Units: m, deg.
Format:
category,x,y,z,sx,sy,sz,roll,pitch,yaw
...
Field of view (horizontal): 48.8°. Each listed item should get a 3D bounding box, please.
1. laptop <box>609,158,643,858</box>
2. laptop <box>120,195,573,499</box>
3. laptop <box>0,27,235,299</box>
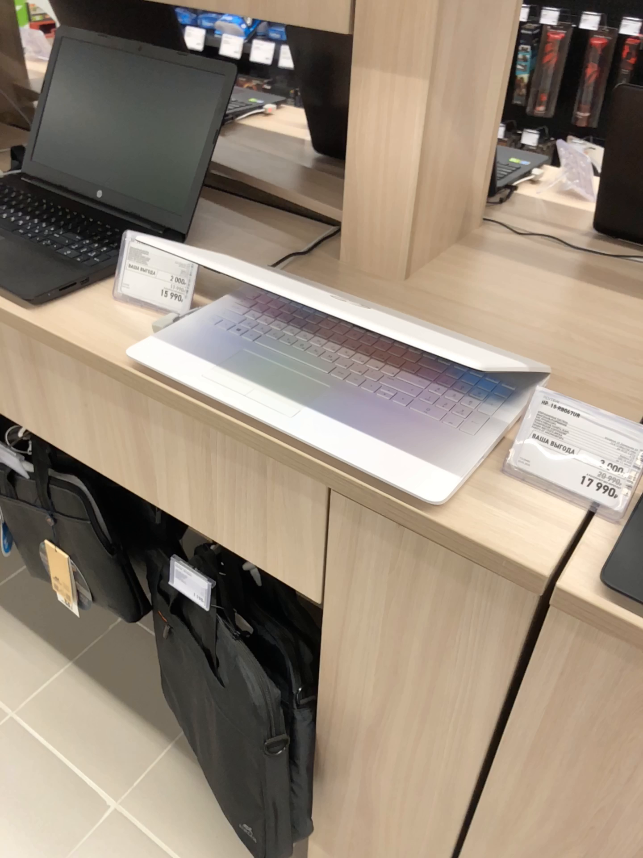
category,x,y,z,sx,sy,sz,roll,pitch,yaw
laptop,0.476,0.010,0.488,0.392,0.219,0.350,26,42,25
laptop,0.019,-0.110,0.716,0.368,0.103,0.233,25,44,27
laptop,-0.383,-0.401,0.990,0.387,0.203,0.369,26,42,27
